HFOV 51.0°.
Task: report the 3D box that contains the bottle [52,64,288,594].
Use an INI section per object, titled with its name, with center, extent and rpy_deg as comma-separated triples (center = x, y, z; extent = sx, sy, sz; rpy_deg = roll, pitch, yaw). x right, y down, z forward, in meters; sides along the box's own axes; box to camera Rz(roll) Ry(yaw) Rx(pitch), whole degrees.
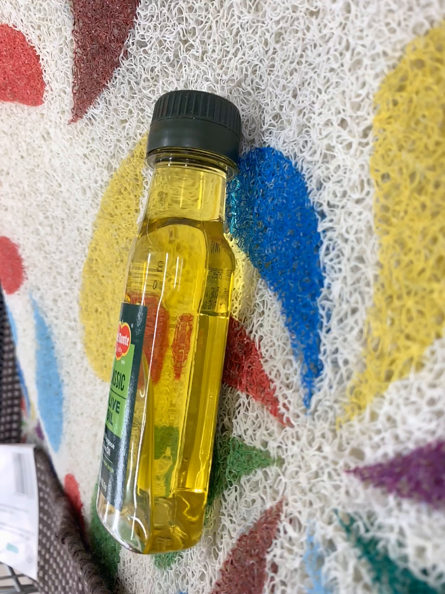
[bottle]
center = -0.019, 0.011, 0.140
extent = 0.050, 0.040, 0.130
rpy_deg = 8, 94, 52
